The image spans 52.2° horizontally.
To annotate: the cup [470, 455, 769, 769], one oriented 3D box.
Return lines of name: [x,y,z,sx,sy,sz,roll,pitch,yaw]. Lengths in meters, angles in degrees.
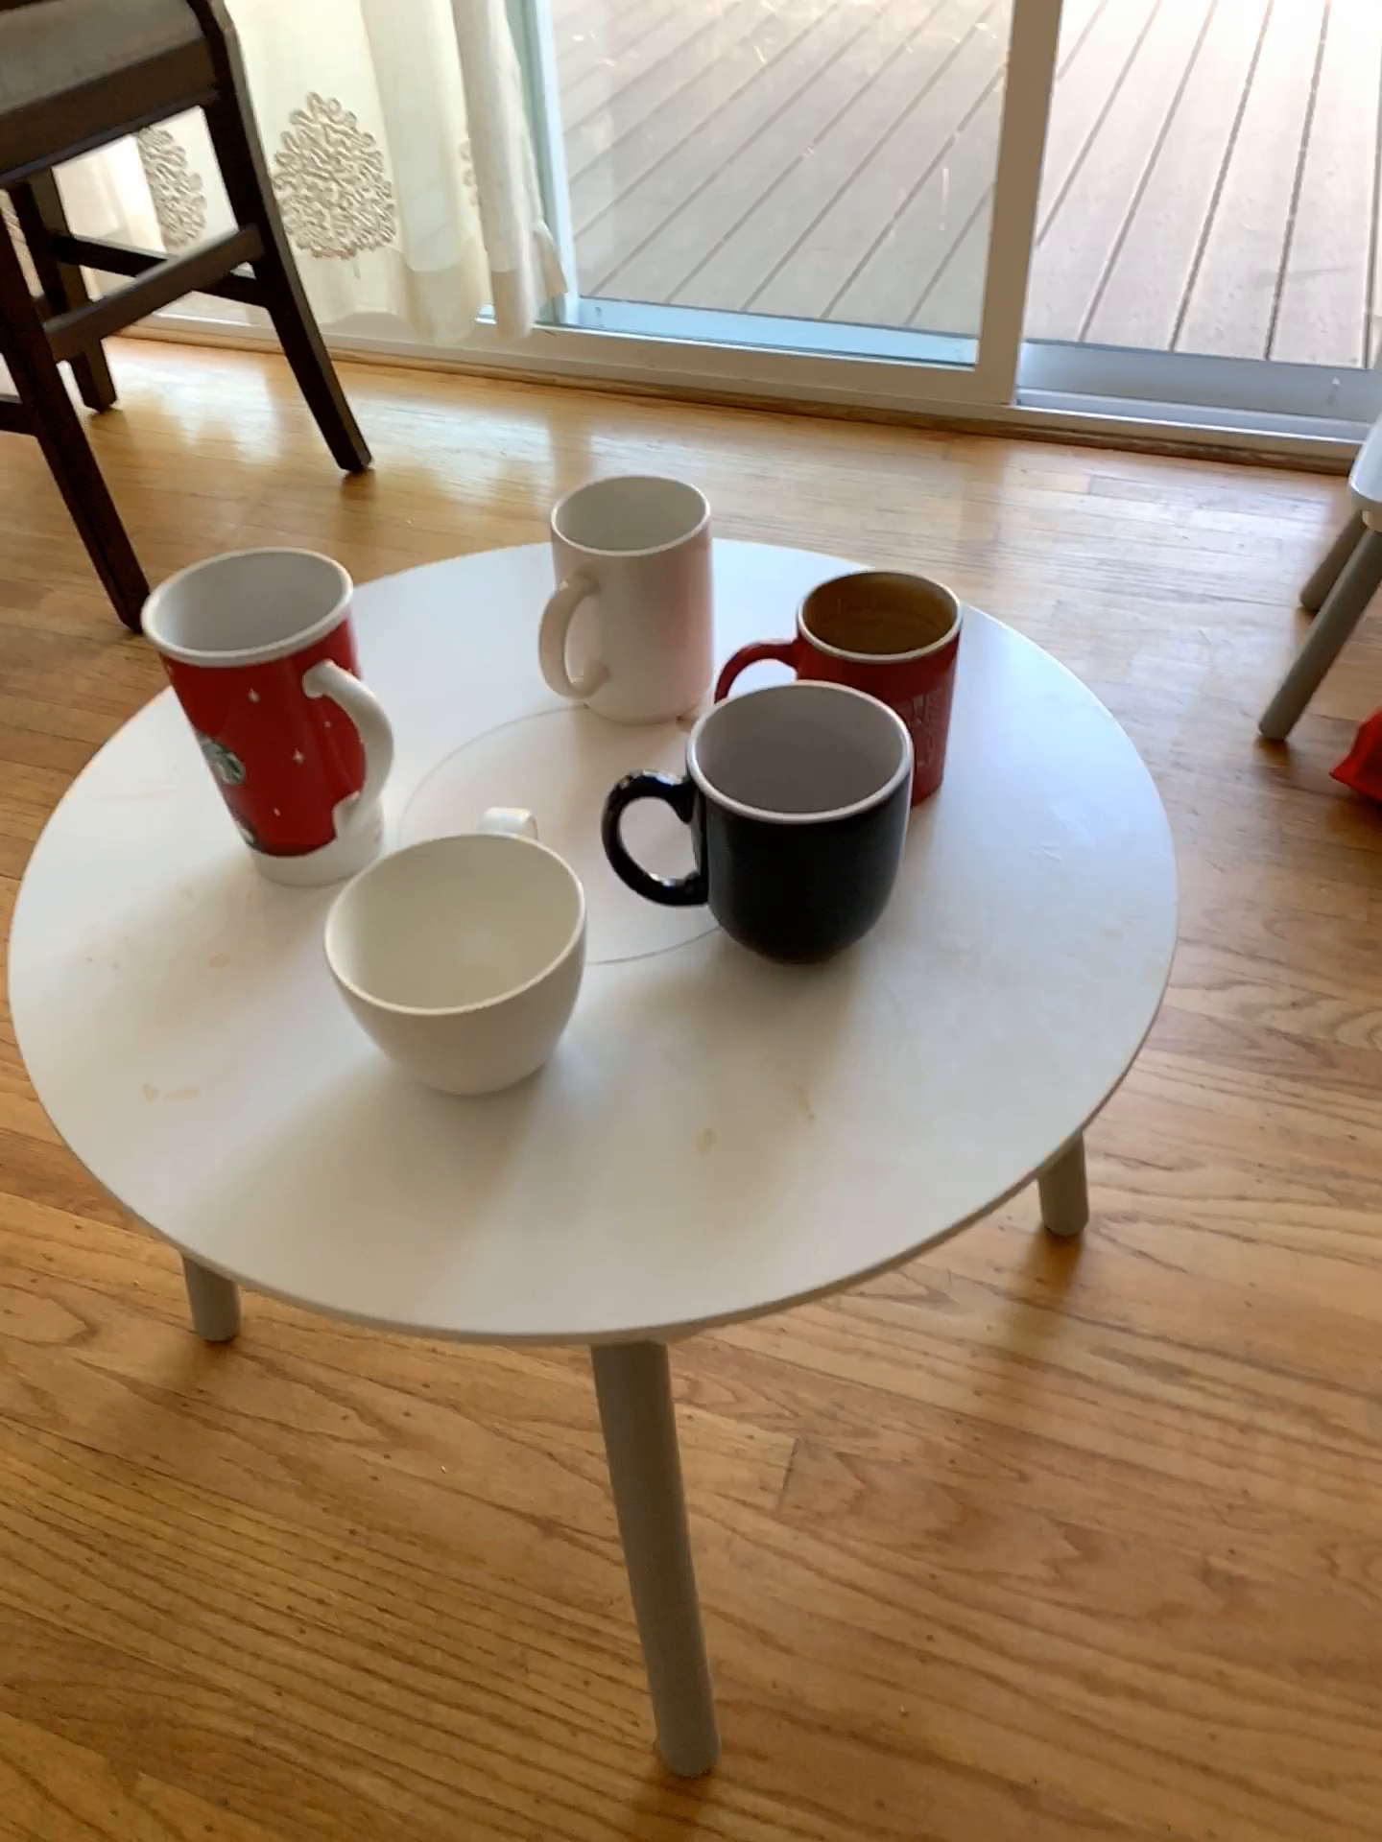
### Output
cup: [-0.032,-0.161,0.721,0.100,0.090,0.120,19,48,20]

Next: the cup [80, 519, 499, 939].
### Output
cup: [-0.180,-0.091,0.657,0.130,0.129,0.100,22,50,23]

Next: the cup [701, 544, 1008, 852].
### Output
cup: [0.075,-0.109,0.687,0.120,0.100,0.080,-13,46,-11]

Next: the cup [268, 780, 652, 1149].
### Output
cup: [-0.086,0.013,0.570,0.110,0.060,0.130,8,46,10]

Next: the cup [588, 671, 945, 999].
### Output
cup: [0.035,-0.039,0.601,0.130,0.080,0.100,7,45,10]
